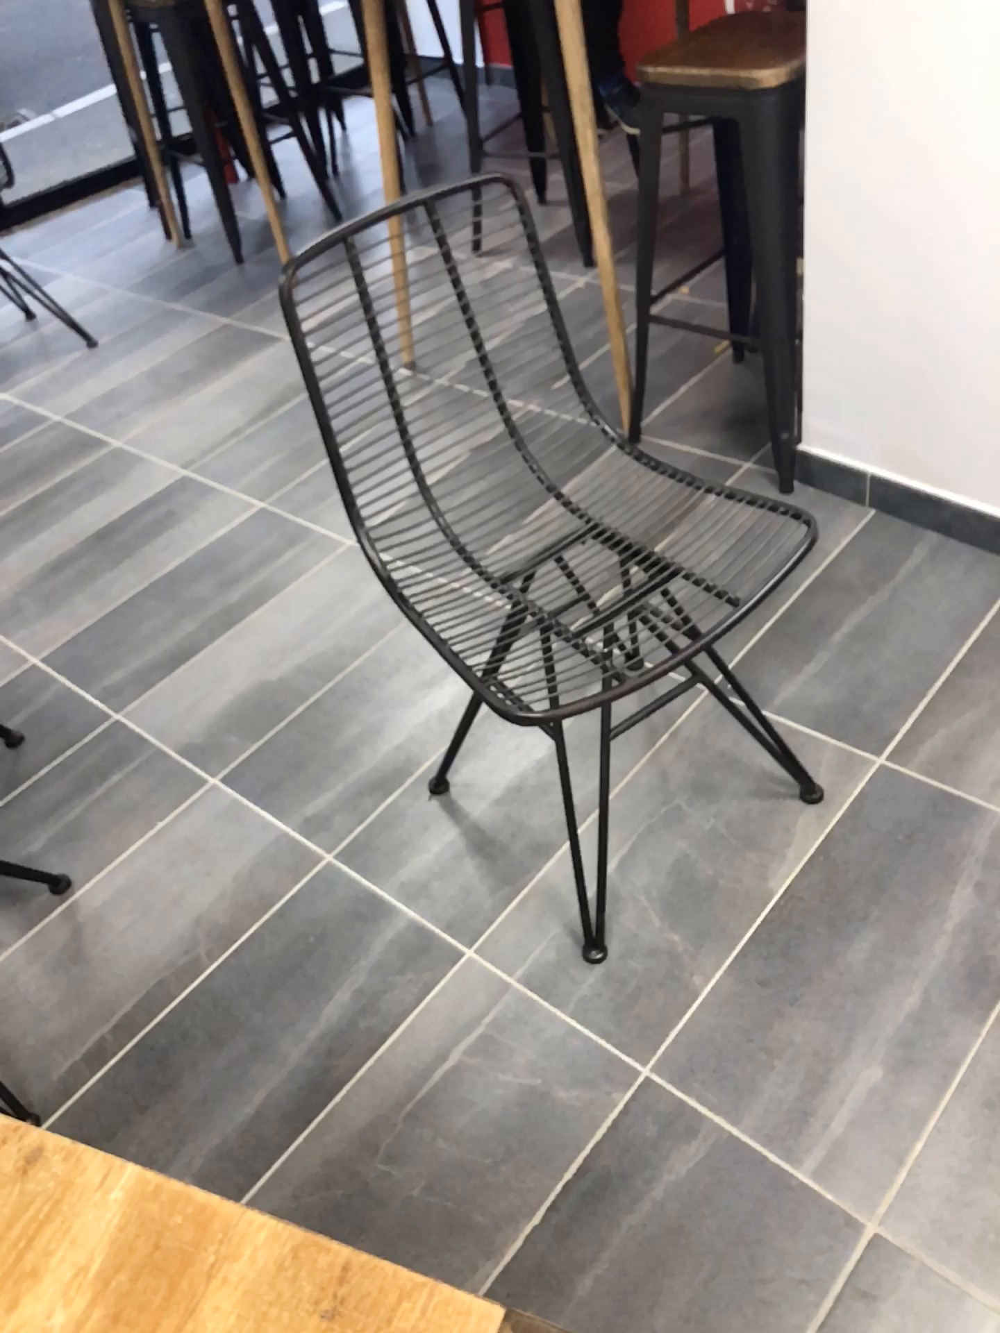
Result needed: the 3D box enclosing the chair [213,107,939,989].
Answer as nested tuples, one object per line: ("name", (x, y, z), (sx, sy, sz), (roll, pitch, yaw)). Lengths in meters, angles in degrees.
("chair", (0.112, -0.143, 1.332), (0.502, 0.786, 0.521), (-31, 44, -19))
